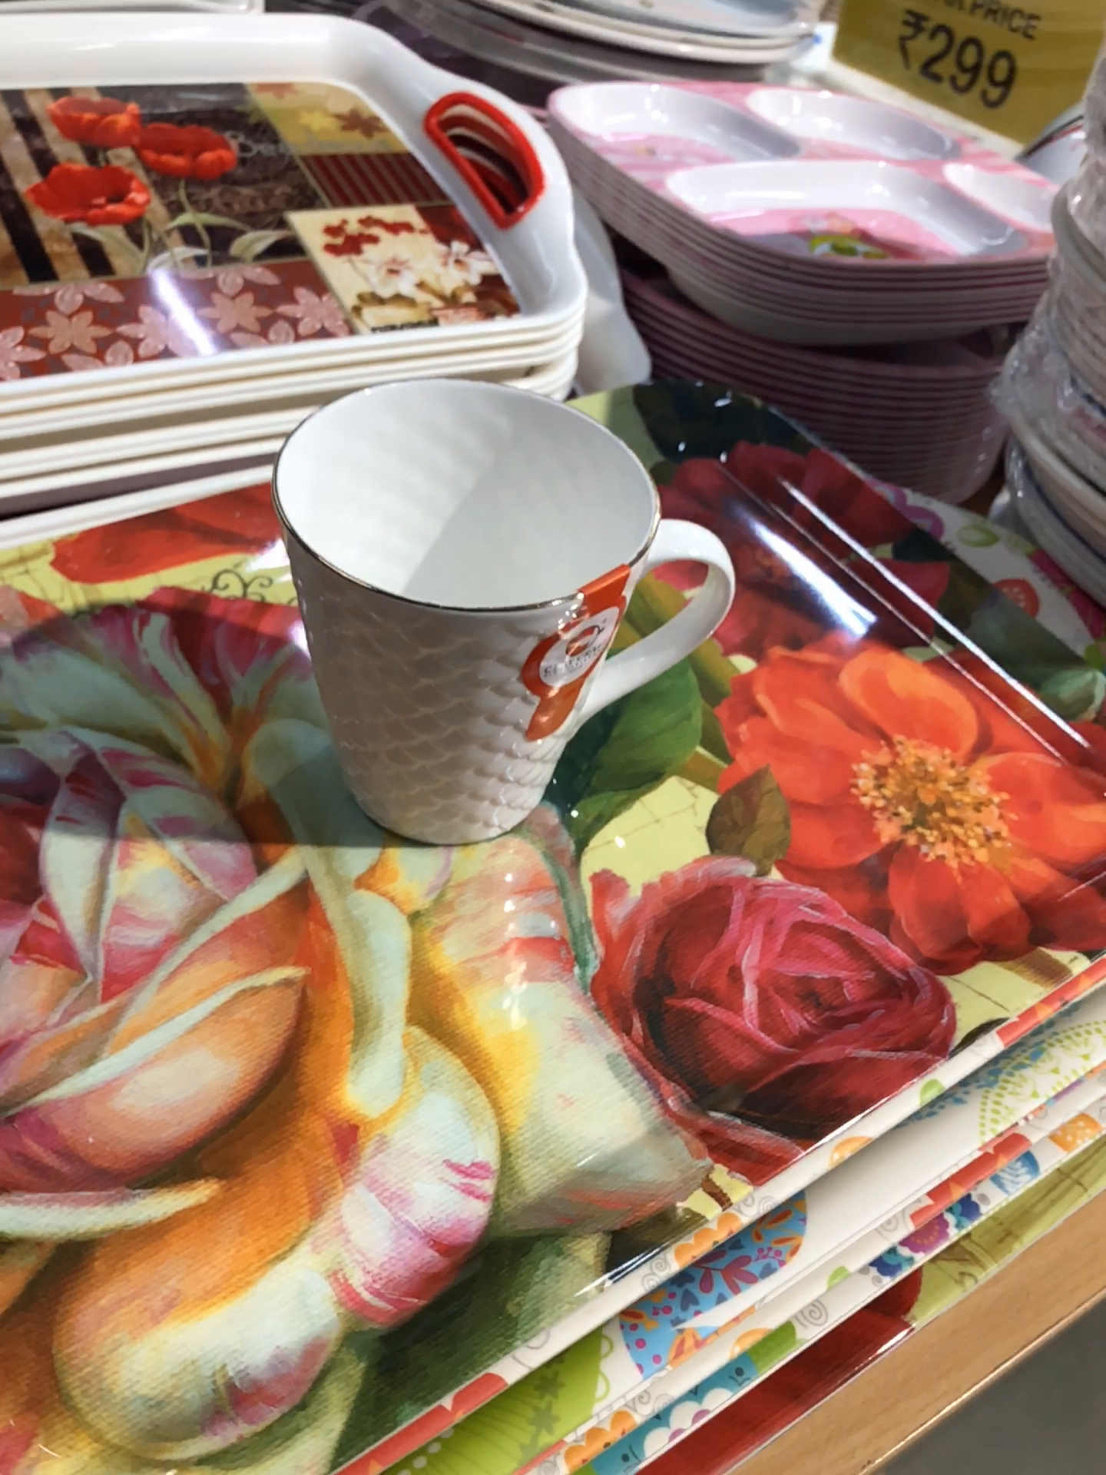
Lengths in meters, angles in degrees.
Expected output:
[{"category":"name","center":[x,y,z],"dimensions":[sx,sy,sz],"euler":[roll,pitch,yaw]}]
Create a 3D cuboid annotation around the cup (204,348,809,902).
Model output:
[{"category":"cup","center":[-0.020,-0.034,0.318],"dimensions":[0.120,0.089,0.101],"euler":[-7,45,-17]}]
